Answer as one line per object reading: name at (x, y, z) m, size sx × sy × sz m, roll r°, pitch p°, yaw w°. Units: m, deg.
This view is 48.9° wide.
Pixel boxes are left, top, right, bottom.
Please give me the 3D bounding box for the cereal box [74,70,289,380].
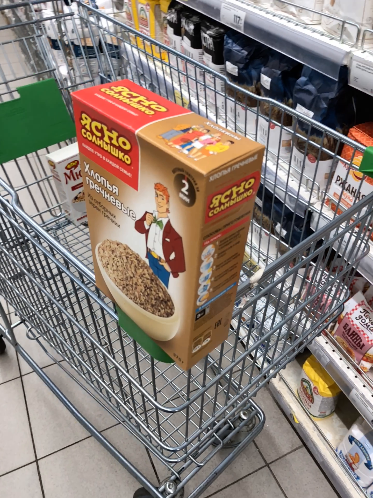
cereal box at (-0.012, -0.014, 0.312) m, size 0.060 × 0.189 × 0.130 m, roll -29°, pitch 50°, yaw -31°
